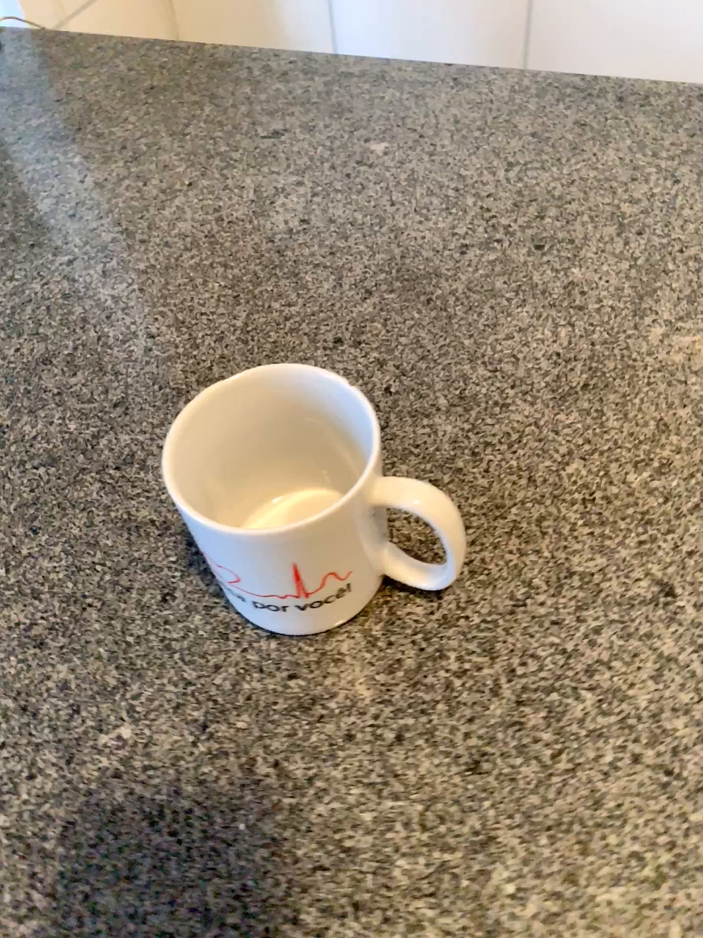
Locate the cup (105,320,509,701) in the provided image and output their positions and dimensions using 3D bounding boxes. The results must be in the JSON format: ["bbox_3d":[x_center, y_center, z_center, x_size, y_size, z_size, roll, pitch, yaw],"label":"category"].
[{"bbox_3d":[-0.009,0.017,0.300,0.120,0.100,0.090,15,57,17],"label":"cup"}]

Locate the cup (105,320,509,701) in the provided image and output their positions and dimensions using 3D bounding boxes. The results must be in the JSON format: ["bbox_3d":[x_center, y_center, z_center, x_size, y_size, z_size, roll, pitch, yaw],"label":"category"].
[{"bbox_3d":[-0.009,0.017,0.300,0.120,0.100,0.090,15,57,17],"label":"cup"}]
